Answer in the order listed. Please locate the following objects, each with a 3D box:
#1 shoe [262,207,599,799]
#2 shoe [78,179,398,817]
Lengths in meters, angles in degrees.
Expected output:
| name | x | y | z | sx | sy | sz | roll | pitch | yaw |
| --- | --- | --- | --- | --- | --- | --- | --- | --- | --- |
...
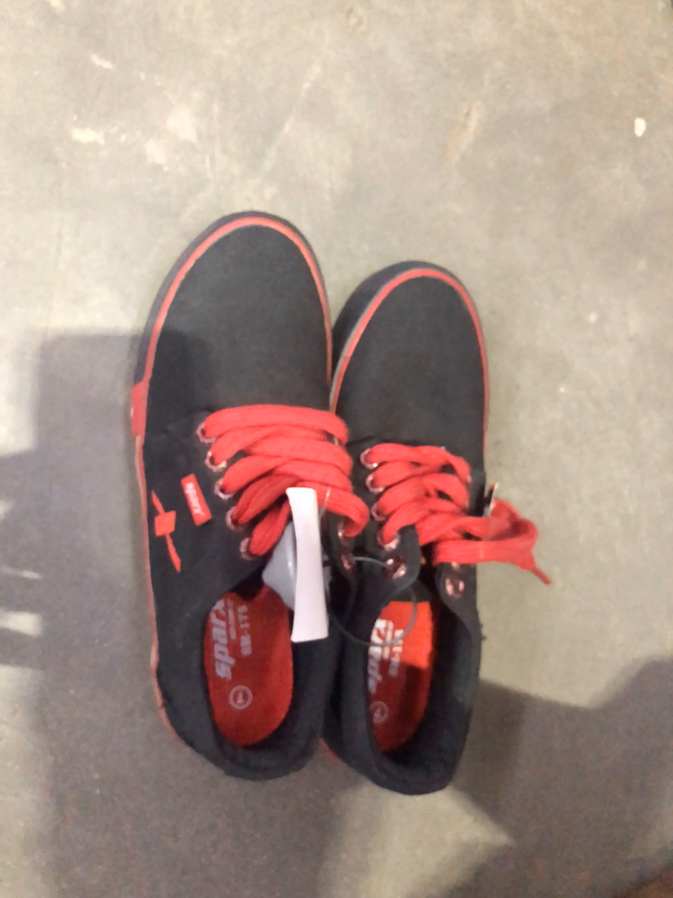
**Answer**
| name | x | y | z | sx | sy | sz | roll | pitch | yaw |
| --- | --- | --- | --- | --- | --- | --- | --- | --- | --- |
| shoe | 0.041 | 0.027 | 0.380 | 0.100 | 0.100 | 0.250 | 10 | 88 | -17 |
| shoe | -0.050 | 0.020 | 0.363 | 0.100 | 0.100 | 0.250 | 5 | 89 | -32 |
